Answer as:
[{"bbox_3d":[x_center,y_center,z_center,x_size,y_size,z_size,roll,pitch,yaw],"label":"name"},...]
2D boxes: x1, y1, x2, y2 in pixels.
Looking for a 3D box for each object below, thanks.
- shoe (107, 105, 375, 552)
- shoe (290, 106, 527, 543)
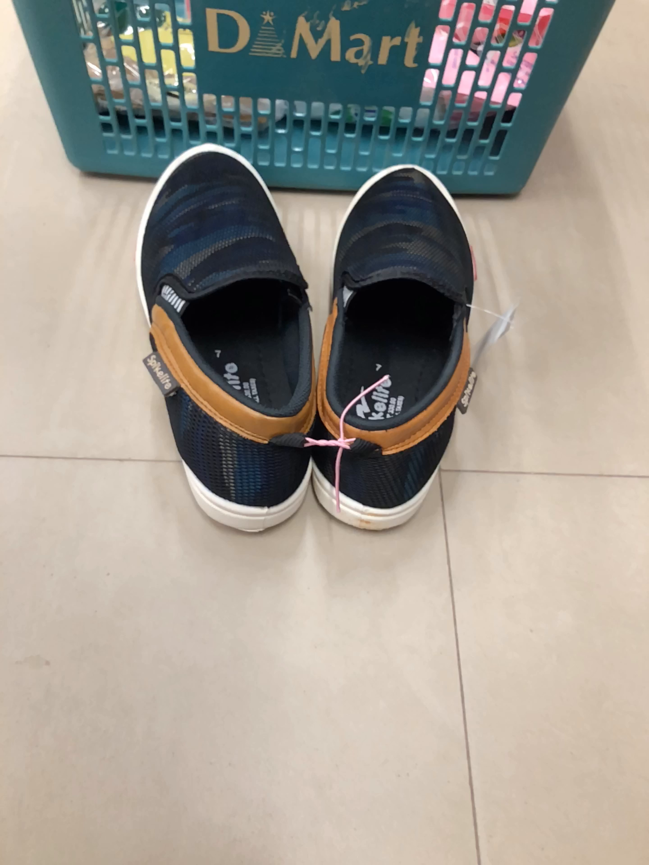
[{"bbox_3d":[-0.058,-0.069,0.428,0.105,0.107,0.240,-8,59,-10],"label":"shoe"},{"bbox_3d":[0.049,-0.071,0.438,0.105,0.107,0.240,8,58,0],"label":"shoe"}]
